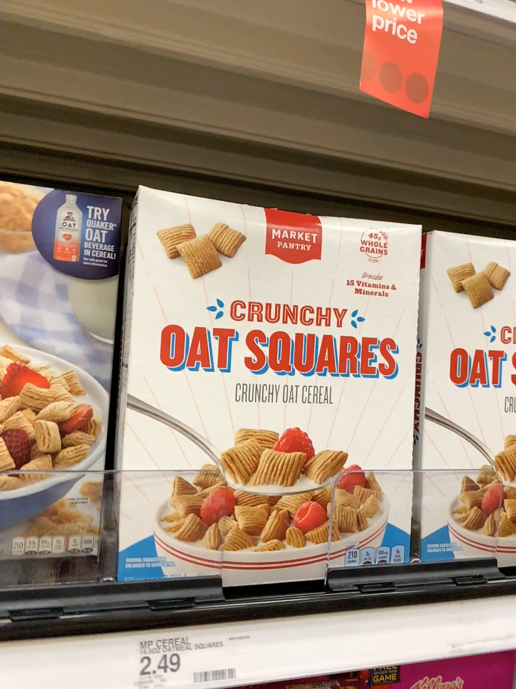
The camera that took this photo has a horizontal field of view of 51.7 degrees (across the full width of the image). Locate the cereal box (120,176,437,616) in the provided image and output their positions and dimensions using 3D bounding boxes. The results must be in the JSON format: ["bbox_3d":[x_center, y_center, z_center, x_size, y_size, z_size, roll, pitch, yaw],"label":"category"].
[{"bbox_3d":[0.016,0.034,0.363,0.190,0.250,0.060,4,-1,-19],"label":"cereal box"}]
